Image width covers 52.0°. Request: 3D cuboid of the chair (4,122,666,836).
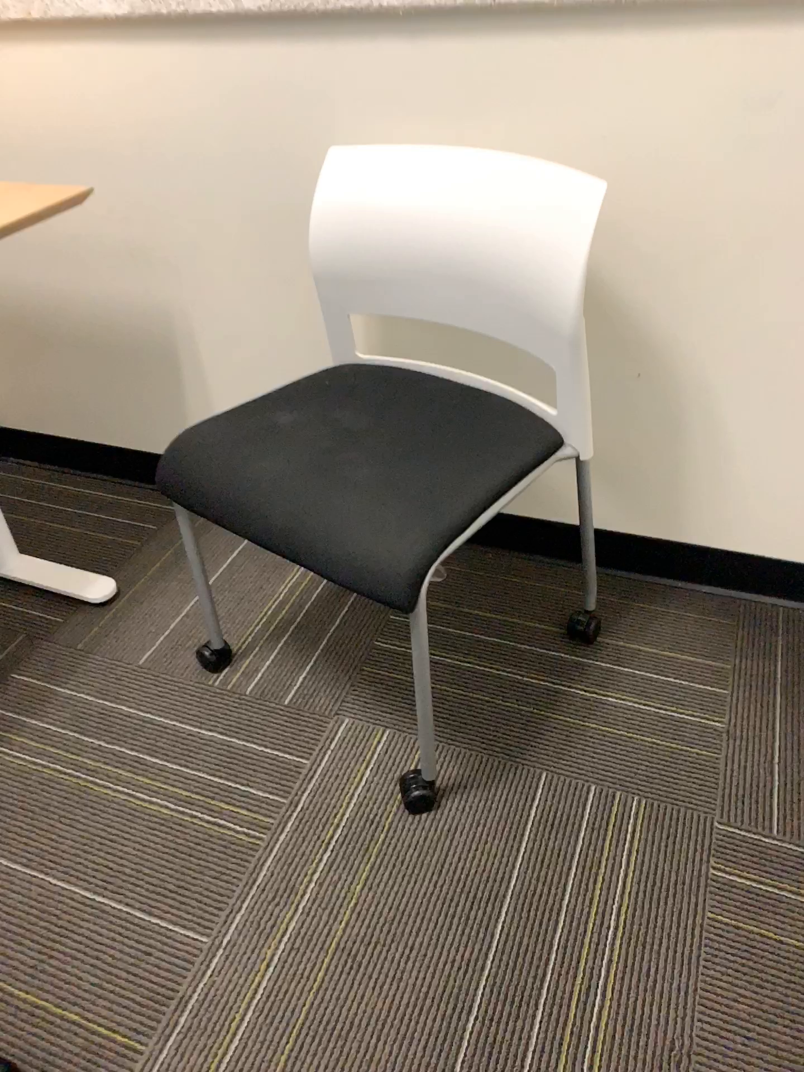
[{"bbox_3d":[-0.051,-0.123,1.204,0.582,0.736,0.541,23,45,32],"label":"chair"}]
